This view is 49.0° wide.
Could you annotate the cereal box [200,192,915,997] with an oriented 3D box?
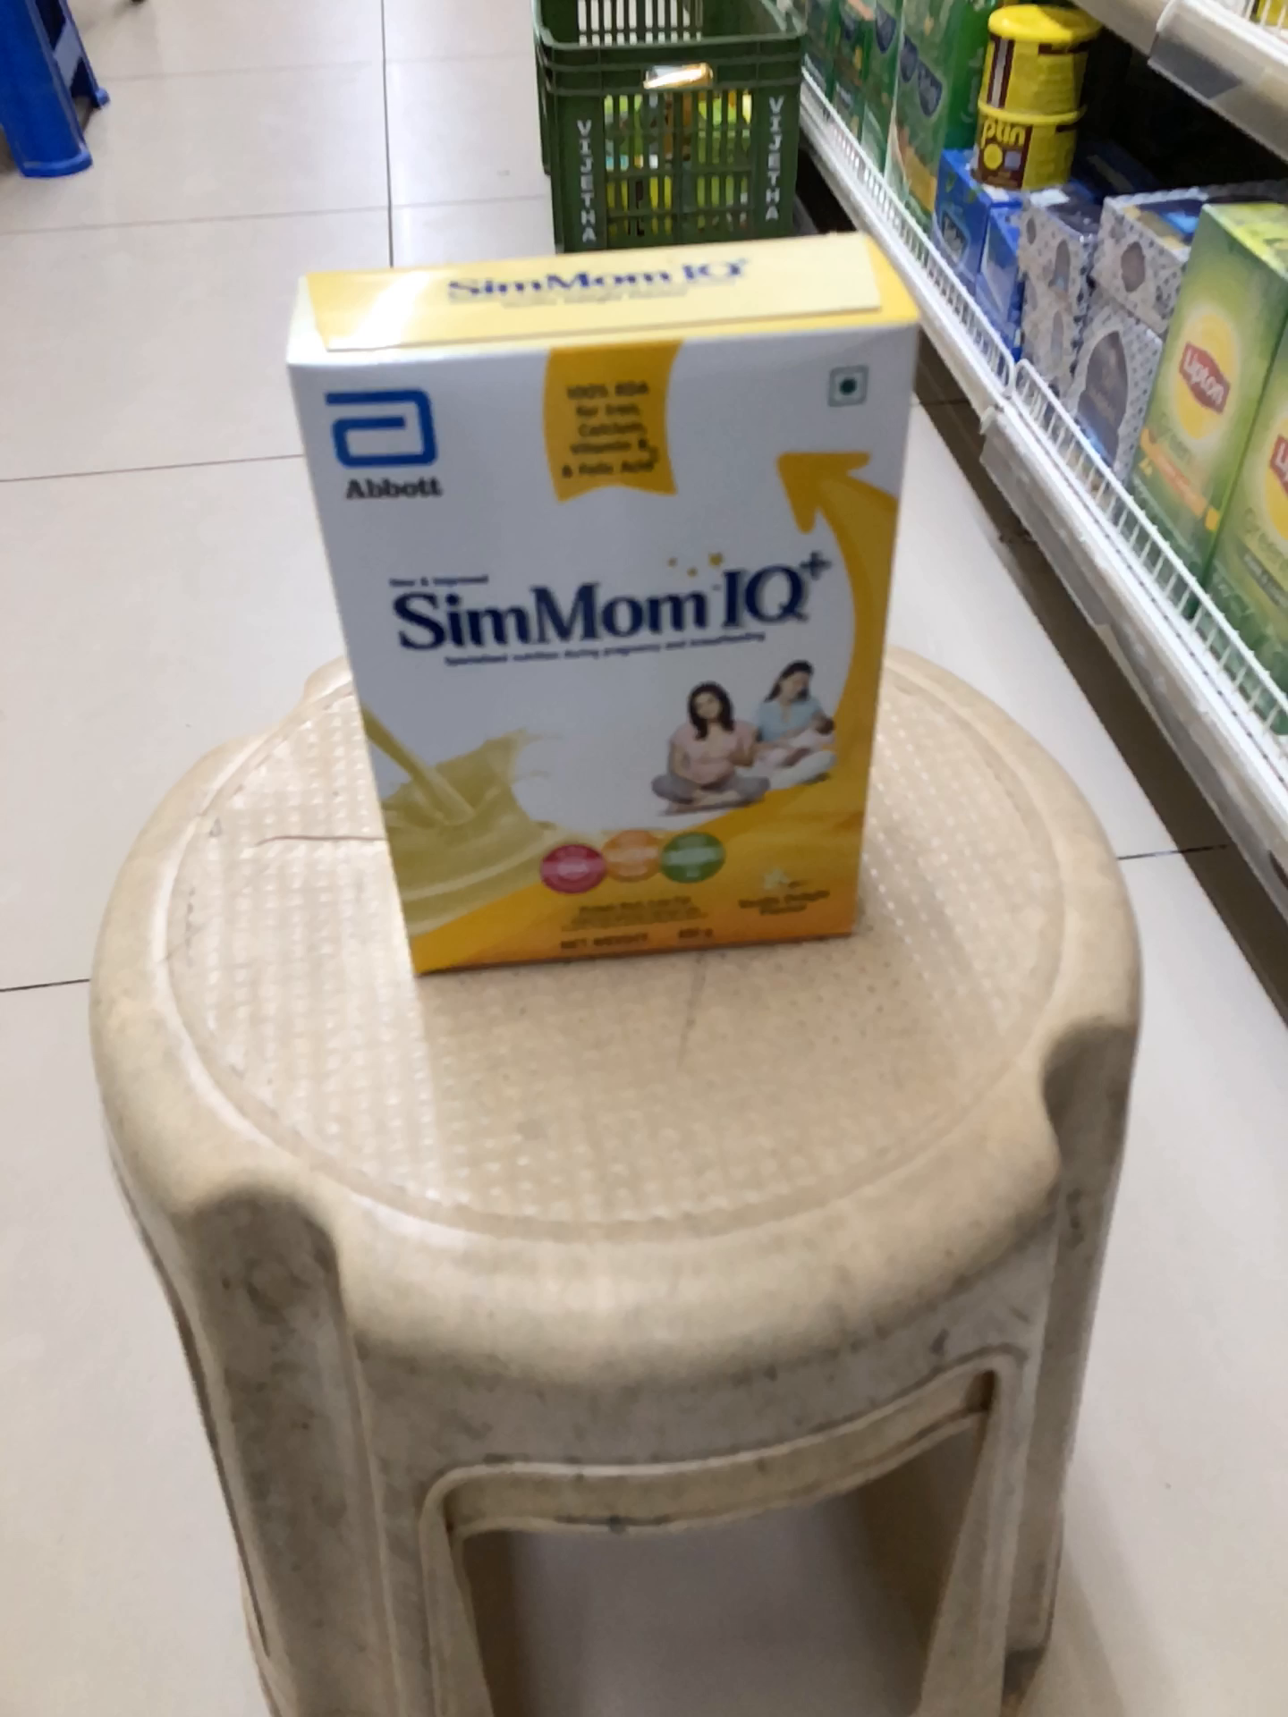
[{"bbox_3d":[-0.015,-0.054,0.364,0.140,0.199,0.050,-5,44,-3],"label":"cereal box"}]
